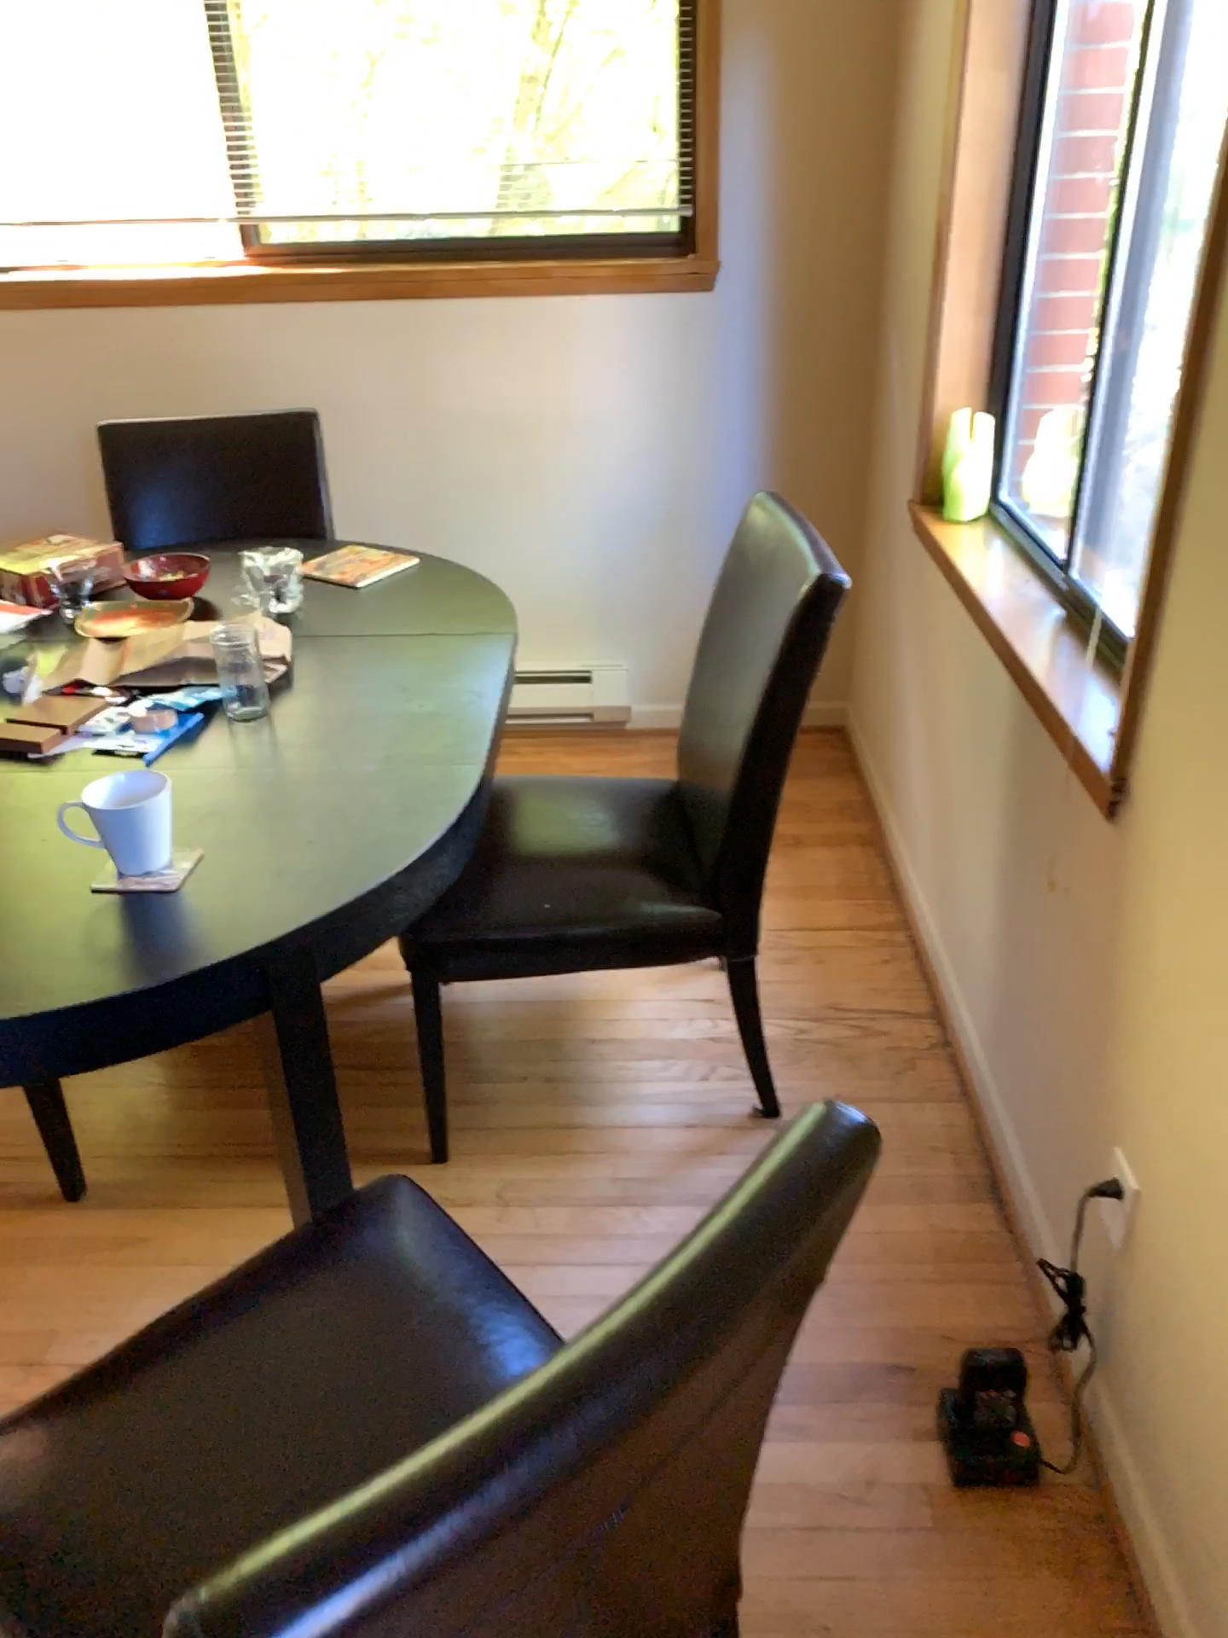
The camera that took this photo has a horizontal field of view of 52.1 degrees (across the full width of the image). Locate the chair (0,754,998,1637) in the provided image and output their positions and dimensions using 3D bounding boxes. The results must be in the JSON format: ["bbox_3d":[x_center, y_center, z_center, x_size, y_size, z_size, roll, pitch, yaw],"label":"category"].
[{"bbox_3d":[-0.191,0.632,1.065,0.653,1.083,0.621,24,38,39],"label":"chair"}]
